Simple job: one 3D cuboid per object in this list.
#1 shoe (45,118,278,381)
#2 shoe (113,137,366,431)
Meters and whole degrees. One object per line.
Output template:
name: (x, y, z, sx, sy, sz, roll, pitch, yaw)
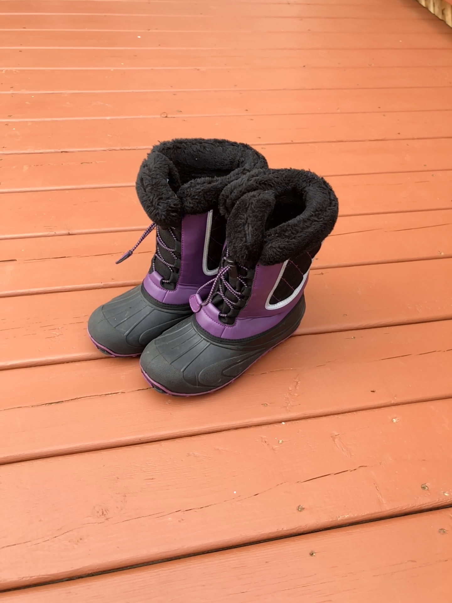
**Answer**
shoe: (-0.081, -0.066, 0.679, 0.240, 0.279, 0.120, -23, 53, -25)
shoe: (0.010, -0.017, 0.617, 0.240, 0.279, 0.120, -27, 55, -28)
